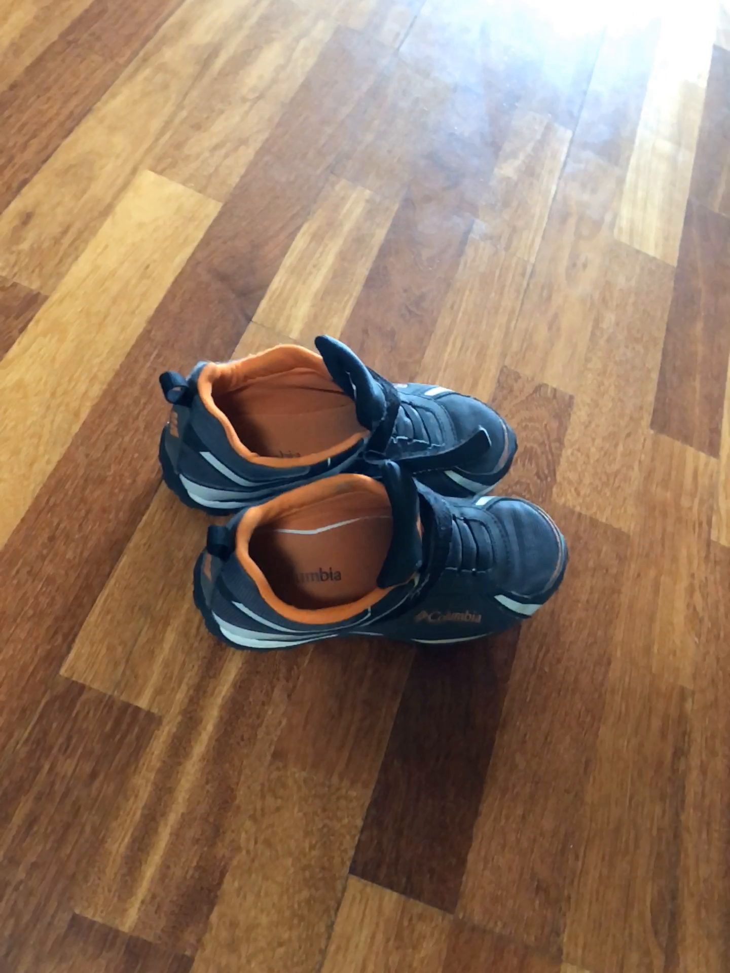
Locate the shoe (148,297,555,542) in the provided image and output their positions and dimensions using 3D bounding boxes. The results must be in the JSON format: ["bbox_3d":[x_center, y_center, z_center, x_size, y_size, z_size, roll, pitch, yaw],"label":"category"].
[{"bbox_3d":[-0.021,-0.038,0.562,0.252,0.126,0.112,1,63,-16],"label":"shoe"}]

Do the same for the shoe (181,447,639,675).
[{"bbox_3d":[0.018,0.046,0.487,0.247,0.102,0.097,1,63,-16],"label":"shoe"}]
